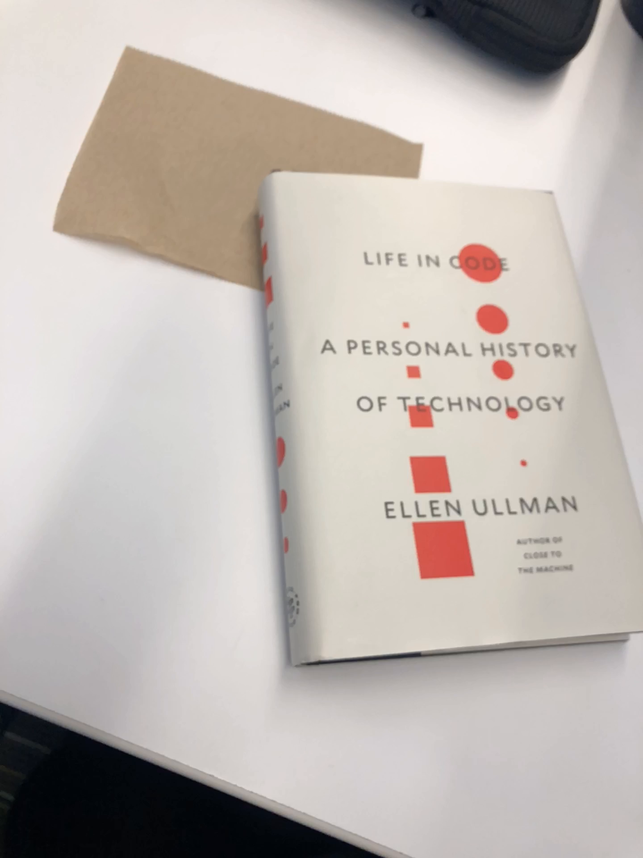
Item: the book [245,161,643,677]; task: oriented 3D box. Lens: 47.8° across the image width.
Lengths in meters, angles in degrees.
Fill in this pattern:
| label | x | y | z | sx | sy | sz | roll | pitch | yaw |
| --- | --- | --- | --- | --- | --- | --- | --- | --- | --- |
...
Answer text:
| label | x | y | z | sx | sy | sz | roll | pitch | yaw |
| --- | --- | --- | --- | --- | --- | --- | --- | --- | --- |
| book | 0.053 | -0.014 | 0.318 | 0.160 | 0.030 | 0.220 | 0 | 66 | -13 |
